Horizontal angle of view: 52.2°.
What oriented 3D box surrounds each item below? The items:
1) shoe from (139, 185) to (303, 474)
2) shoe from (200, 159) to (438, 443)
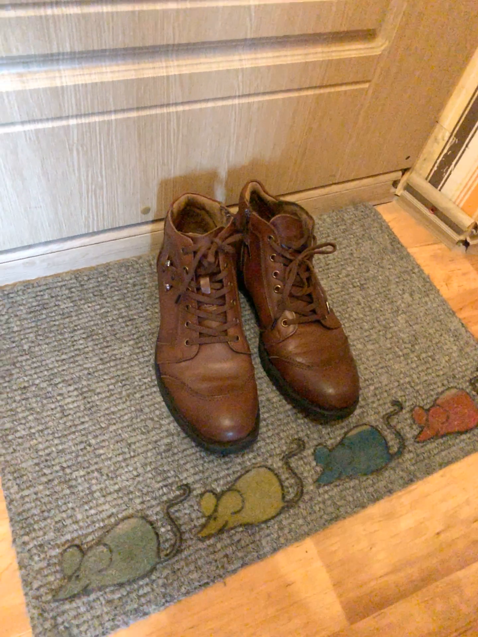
[{"bbox_3d":[-0.036,0.004,0.508,0.110,0.140,0.261,-4,56,-13],"label":"shoe"},{"bbox_3d":[0.064,-0.027,0.545,0.110,0.140,0.271,-17,60,-21],"label":"shoe"}]
